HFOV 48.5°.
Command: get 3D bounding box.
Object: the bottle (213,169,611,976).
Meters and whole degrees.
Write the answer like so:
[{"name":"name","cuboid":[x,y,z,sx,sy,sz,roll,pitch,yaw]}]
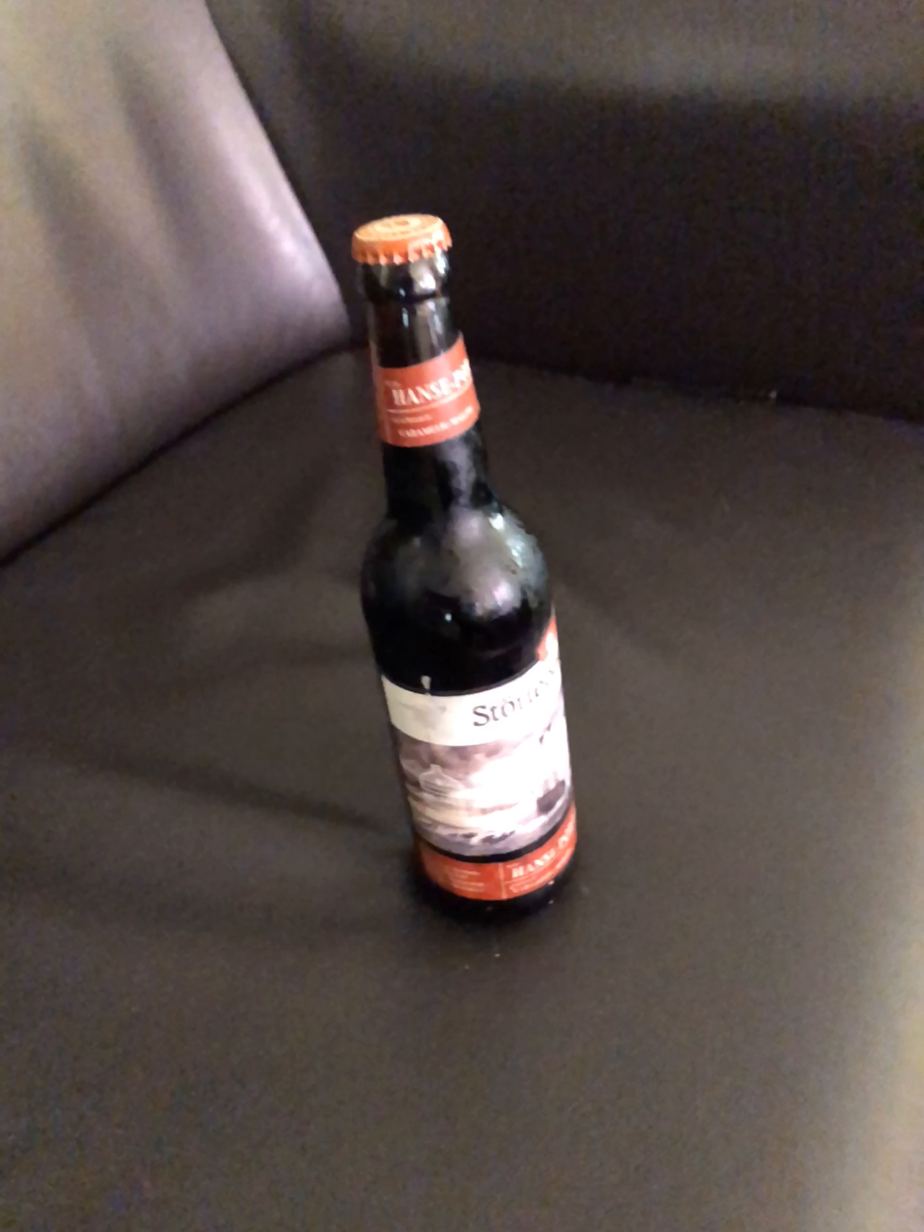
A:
[{"name":"bottle","cuboid":[-0.003,-0.001,0.373,0.080,0.278,0.080,-4,37,3]}]
